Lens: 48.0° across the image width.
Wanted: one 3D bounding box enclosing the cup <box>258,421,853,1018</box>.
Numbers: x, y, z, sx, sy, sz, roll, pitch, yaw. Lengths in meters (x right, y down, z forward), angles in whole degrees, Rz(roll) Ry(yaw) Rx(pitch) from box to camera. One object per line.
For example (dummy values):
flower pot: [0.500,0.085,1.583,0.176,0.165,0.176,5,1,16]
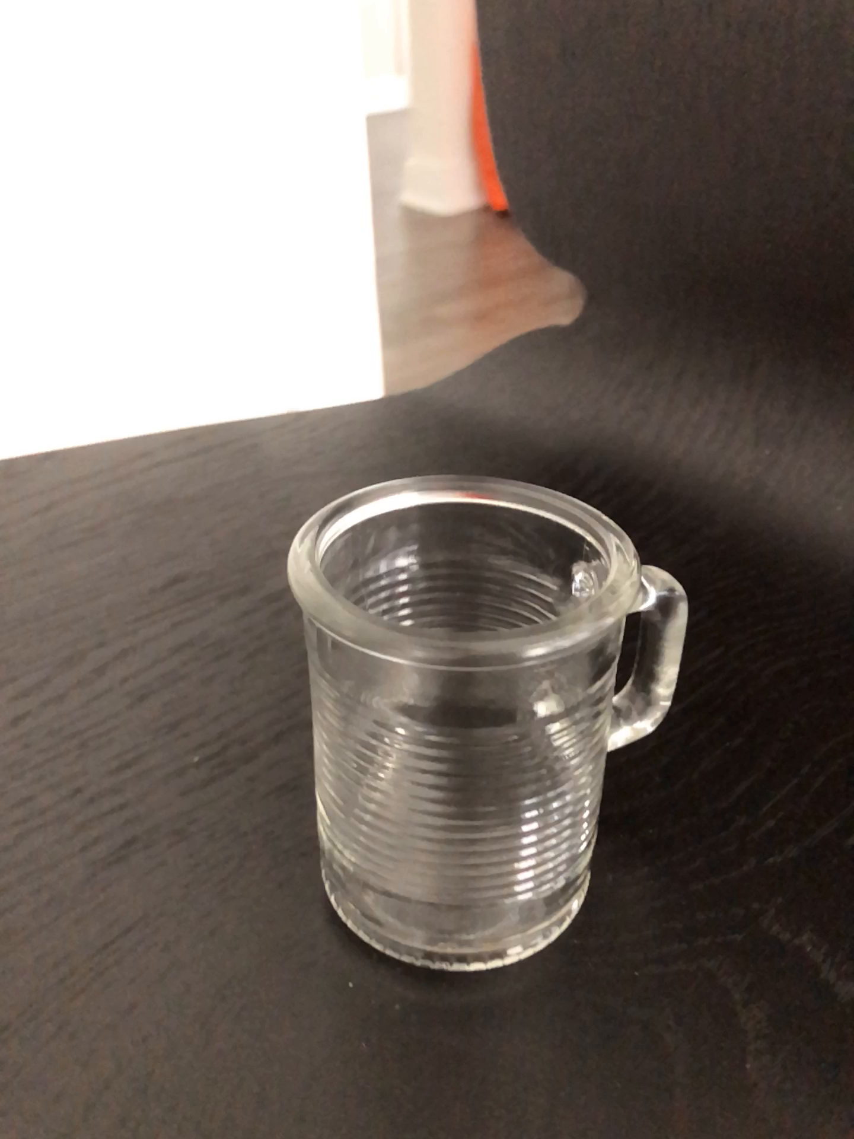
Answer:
cup: [0.020,0.025,0.185,0.090,0.080,0.060,-8,36,-13]
